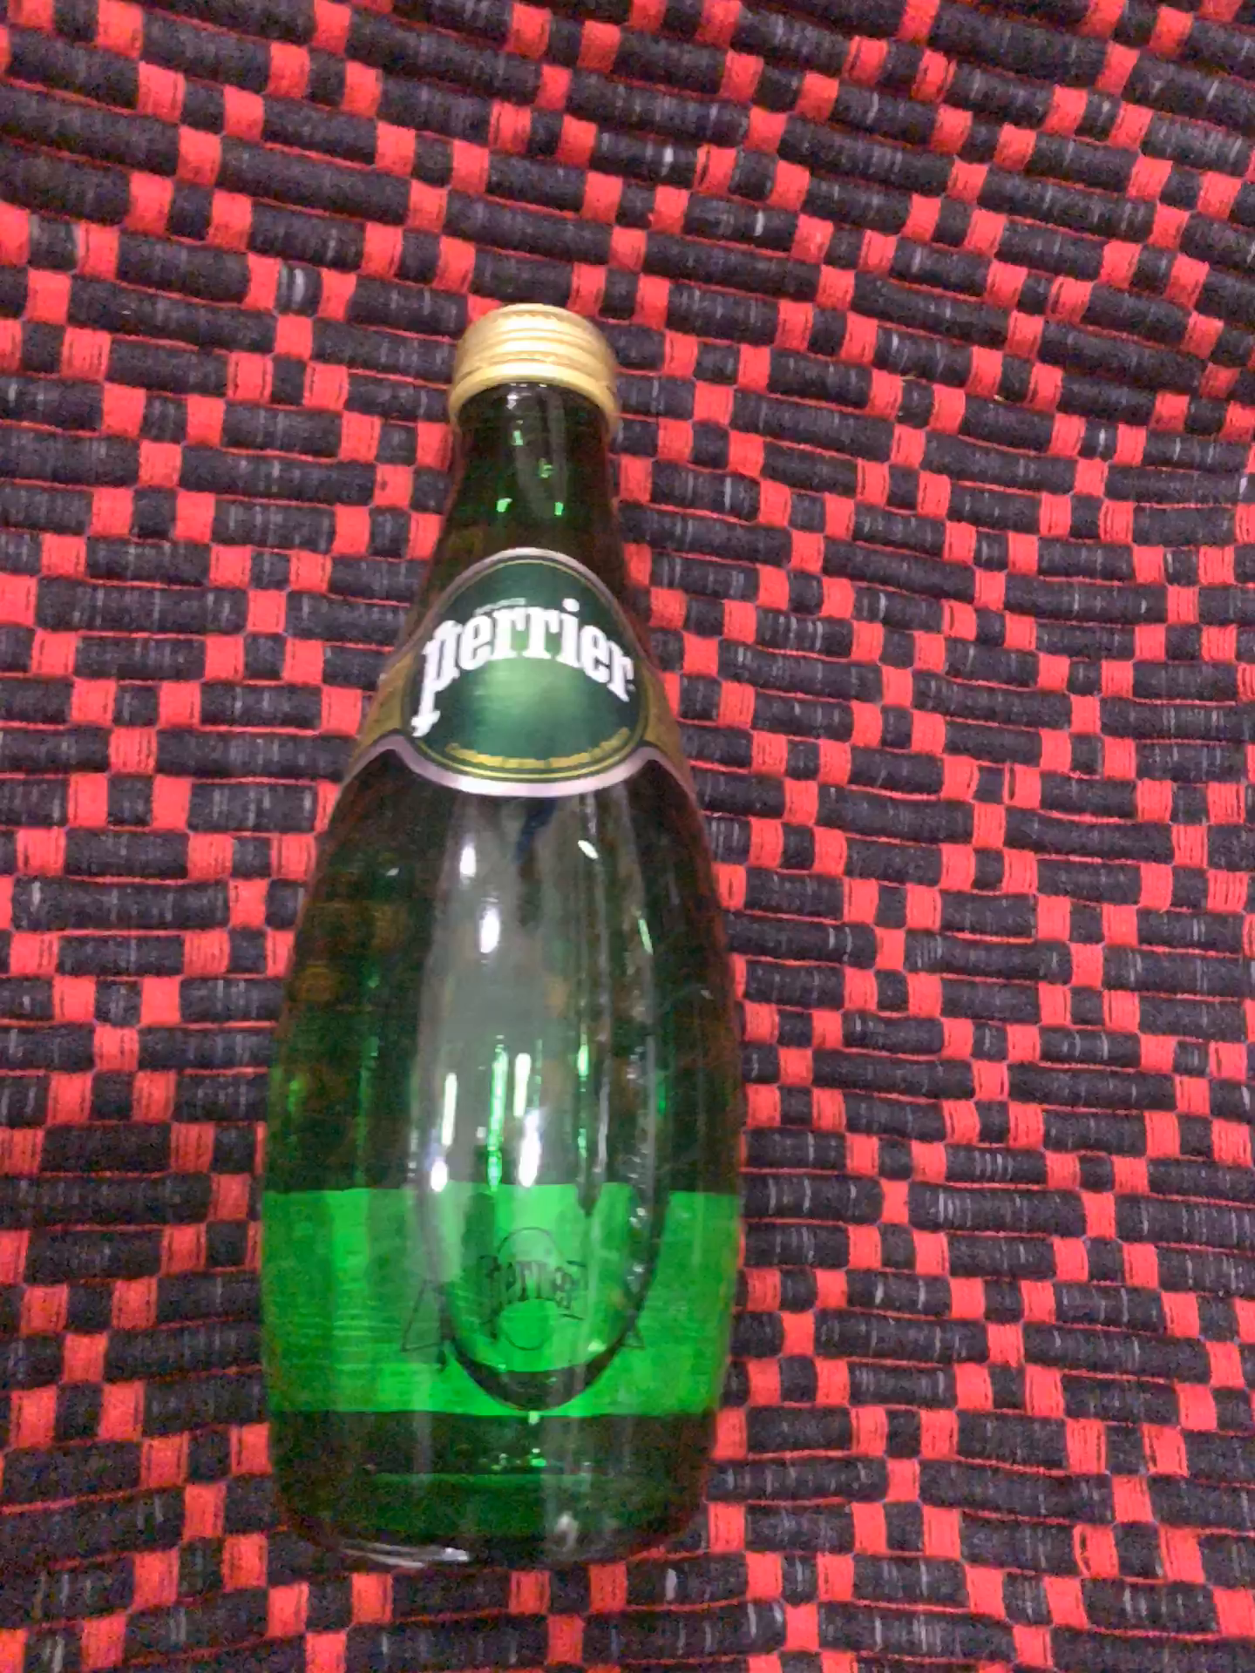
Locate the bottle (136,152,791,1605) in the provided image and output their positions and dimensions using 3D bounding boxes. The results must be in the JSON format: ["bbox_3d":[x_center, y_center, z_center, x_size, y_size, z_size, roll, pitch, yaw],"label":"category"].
[{"bbox_3d":[-0.017,0.003,0.195,0.070,0.070,0.180,2,77,-4],"label":"bottle"}]
